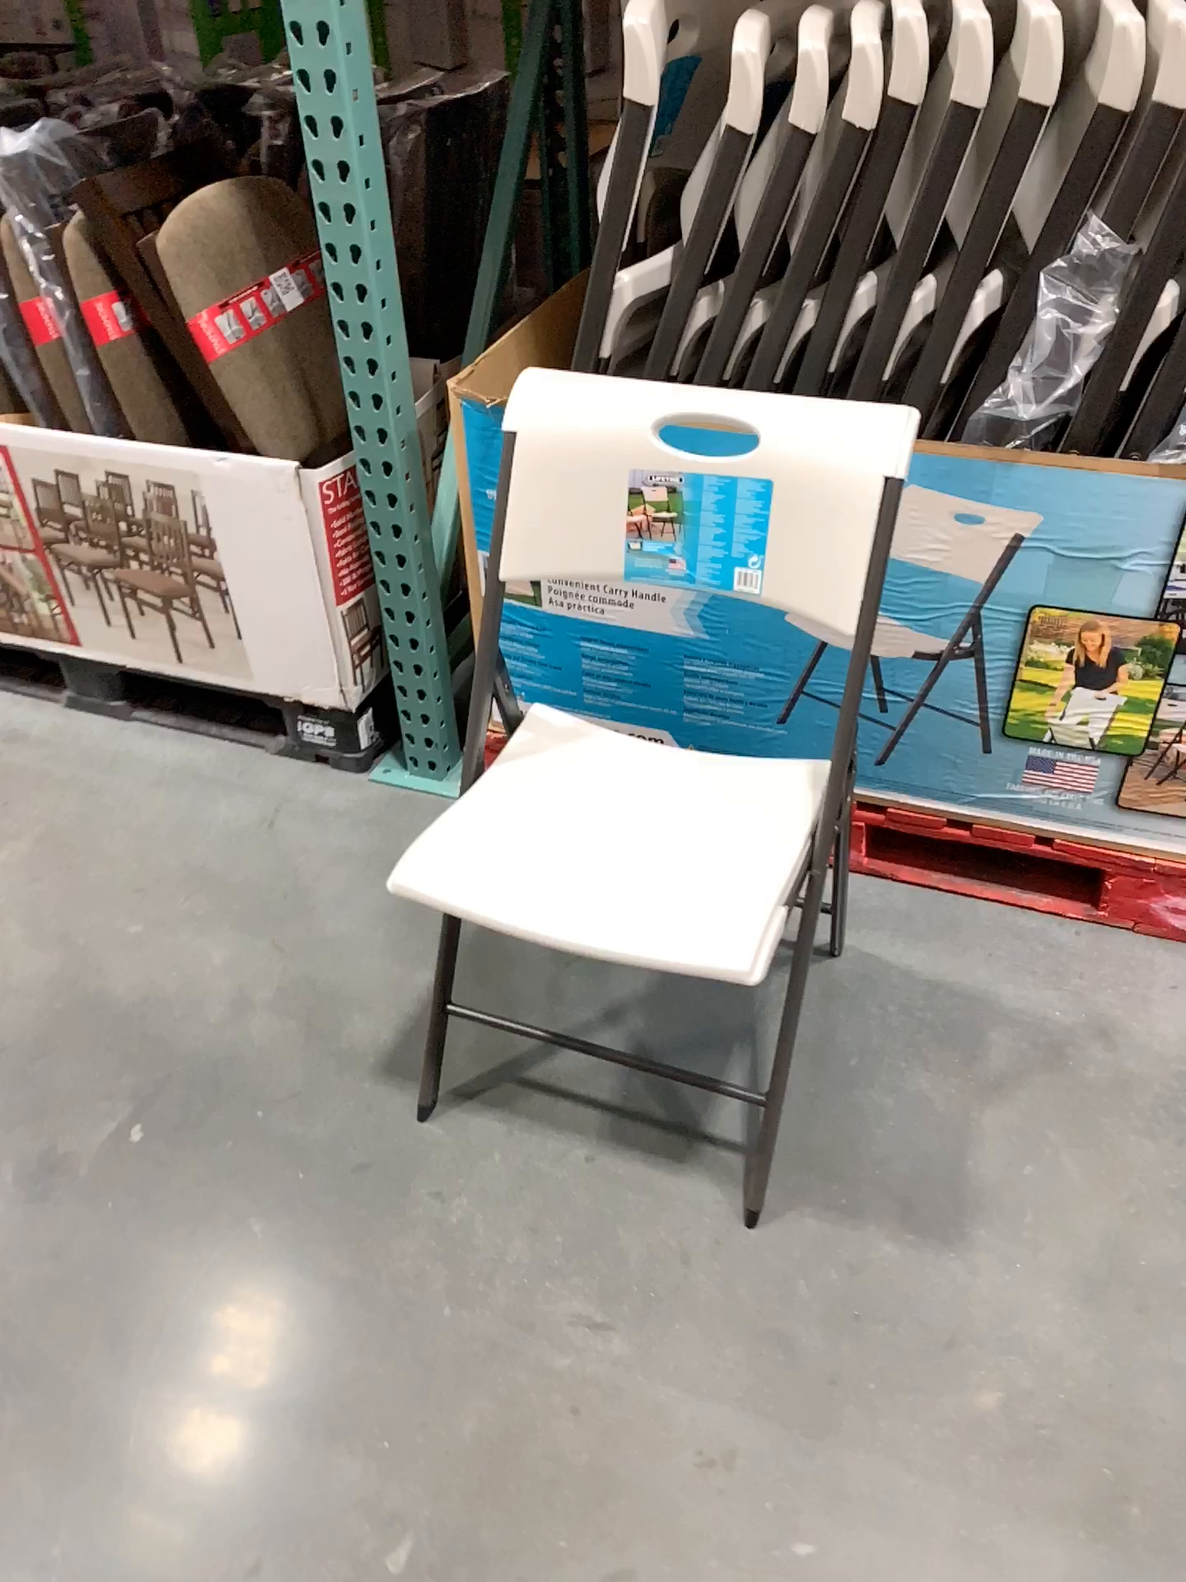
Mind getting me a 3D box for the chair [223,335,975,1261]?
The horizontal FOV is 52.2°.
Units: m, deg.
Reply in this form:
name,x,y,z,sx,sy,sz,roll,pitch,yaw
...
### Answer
name,x,y,z,sx,sy,sz,roll,pitch,yaw
chair,0.058,-0.009,1.418,0.566,0.806,0.576,12,40,17
